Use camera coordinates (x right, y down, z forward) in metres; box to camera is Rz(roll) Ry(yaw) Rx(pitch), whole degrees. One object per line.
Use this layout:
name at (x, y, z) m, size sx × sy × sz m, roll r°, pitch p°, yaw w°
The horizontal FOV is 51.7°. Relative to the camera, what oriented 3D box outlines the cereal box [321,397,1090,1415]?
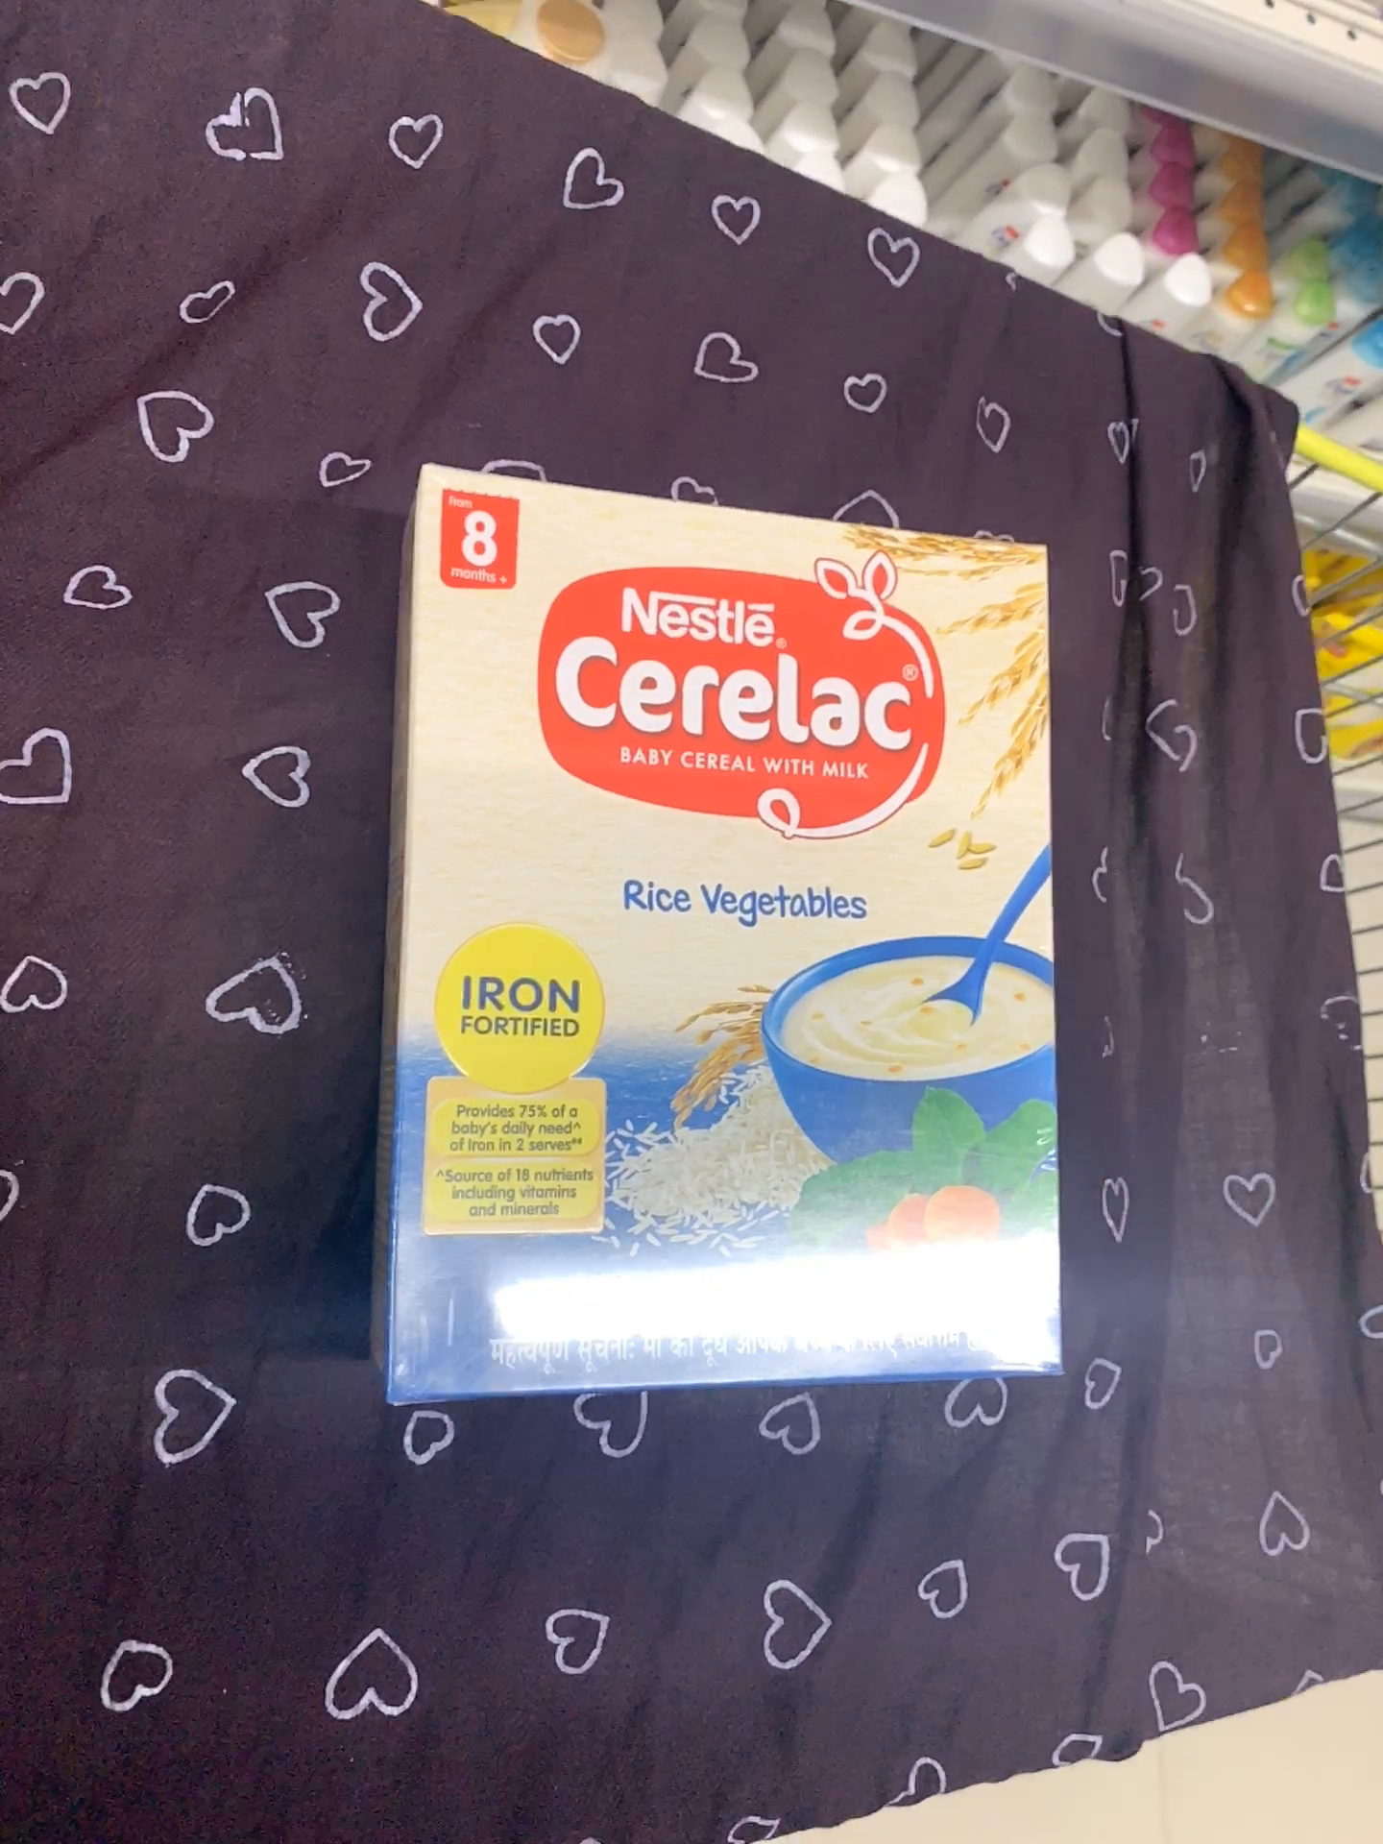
cereal box at (0.004, 0.000, 0.308) m, size 0.150 × 0.050 × 0.190 m, roll 4°, pitch 81°, yaw -17°
